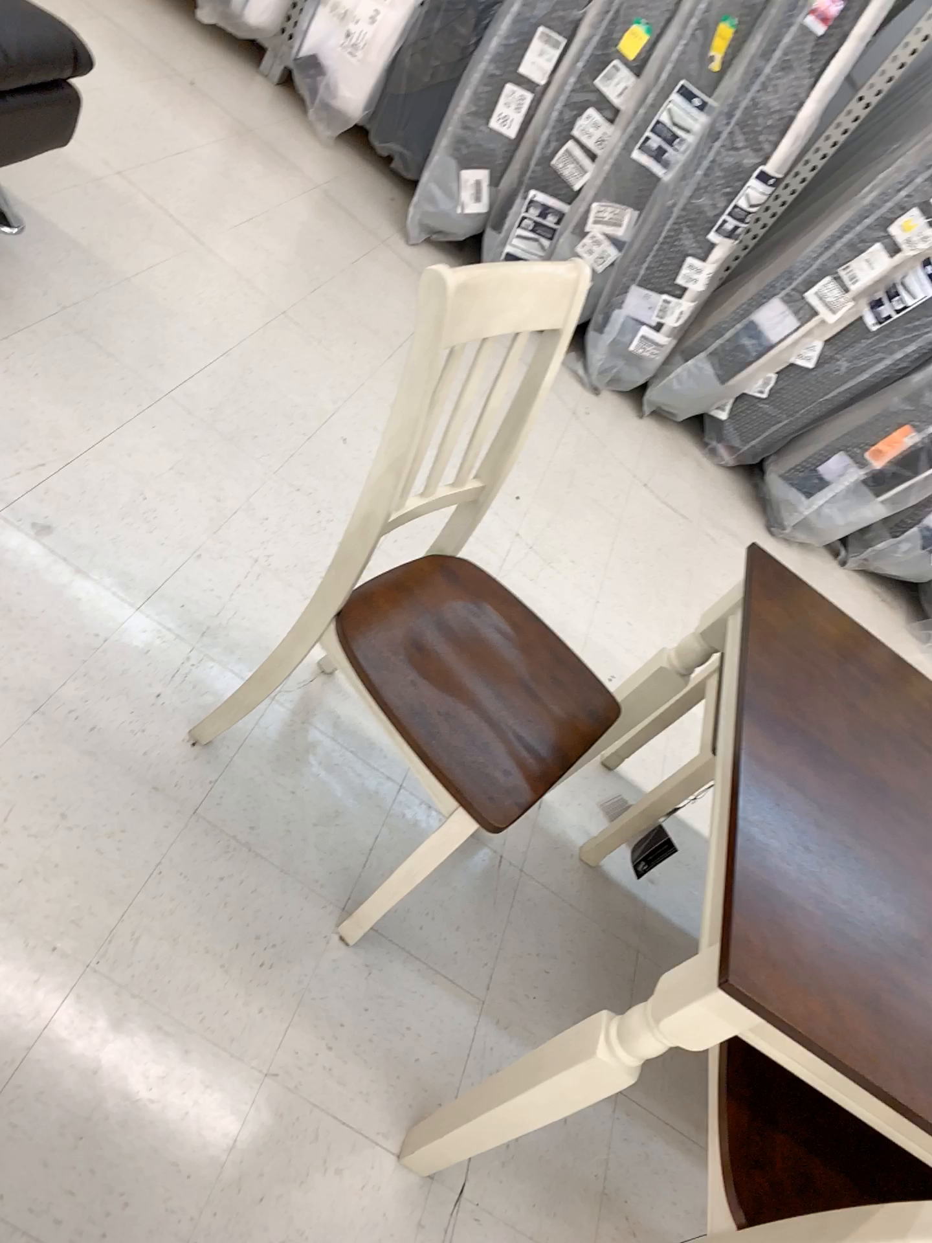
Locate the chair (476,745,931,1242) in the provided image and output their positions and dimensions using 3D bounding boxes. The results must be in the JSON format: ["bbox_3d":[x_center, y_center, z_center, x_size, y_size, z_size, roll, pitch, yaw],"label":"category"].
[{"bbox_3d":[0.532,0.733,1.237,0.464,0.932,0.607,36,37,-8],"label":"chair"}]

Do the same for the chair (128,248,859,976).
[{"bbox_3d":[0.008,-0.006,1.503,0.594,0.902,0.527,47,37,7],"label":"chair"}]
